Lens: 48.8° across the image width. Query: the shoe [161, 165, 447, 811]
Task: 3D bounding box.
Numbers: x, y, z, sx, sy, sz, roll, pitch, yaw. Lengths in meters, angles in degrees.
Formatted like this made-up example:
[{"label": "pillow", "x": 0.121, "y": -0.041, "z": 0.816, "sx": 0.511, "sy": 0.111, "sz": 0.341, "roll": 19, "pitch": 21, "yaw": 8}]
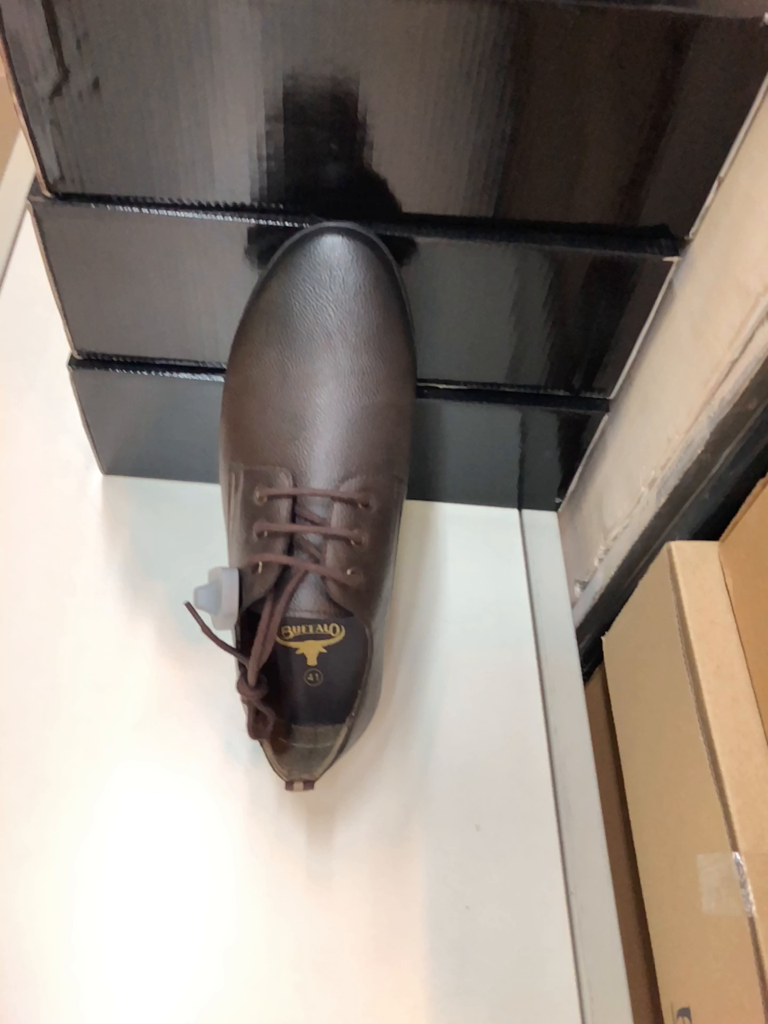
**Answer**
[{"label": "shoe", "x": -0.035, "y": -0.013, "z": 0.415, "sx": 0.111, "sy": 0.271, "sz": 0.116, "roll": 4, "pitch": 13, "yaw": 3}]
